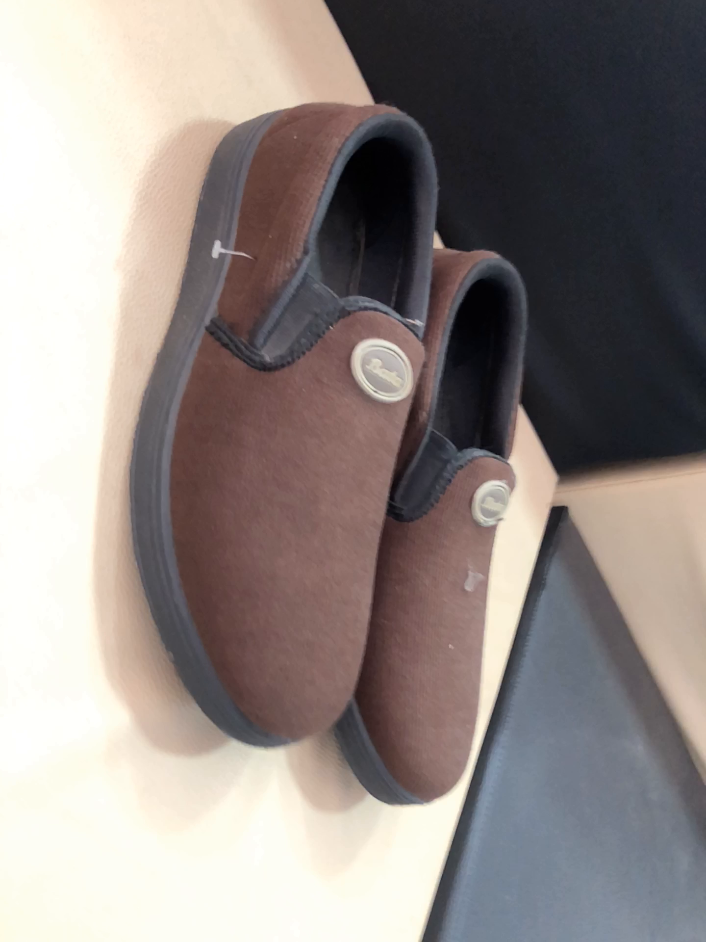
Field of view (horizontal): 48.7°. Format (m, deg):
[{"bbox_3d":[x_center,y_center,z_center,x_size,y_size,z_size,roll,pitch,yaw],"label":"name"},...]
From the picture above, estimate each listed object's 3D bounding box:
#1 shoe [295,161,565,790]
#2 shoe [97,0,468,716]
[{"bbox_3d":[0.041,0.003,0.376,0.091,0.079,0.270,24,62,-49],"label":"shoe"},{"bbox_3d":[-0.017,-0.037,0.308,0.091,0.089,0.250,24,62,-49],"label":"shoe"}]
